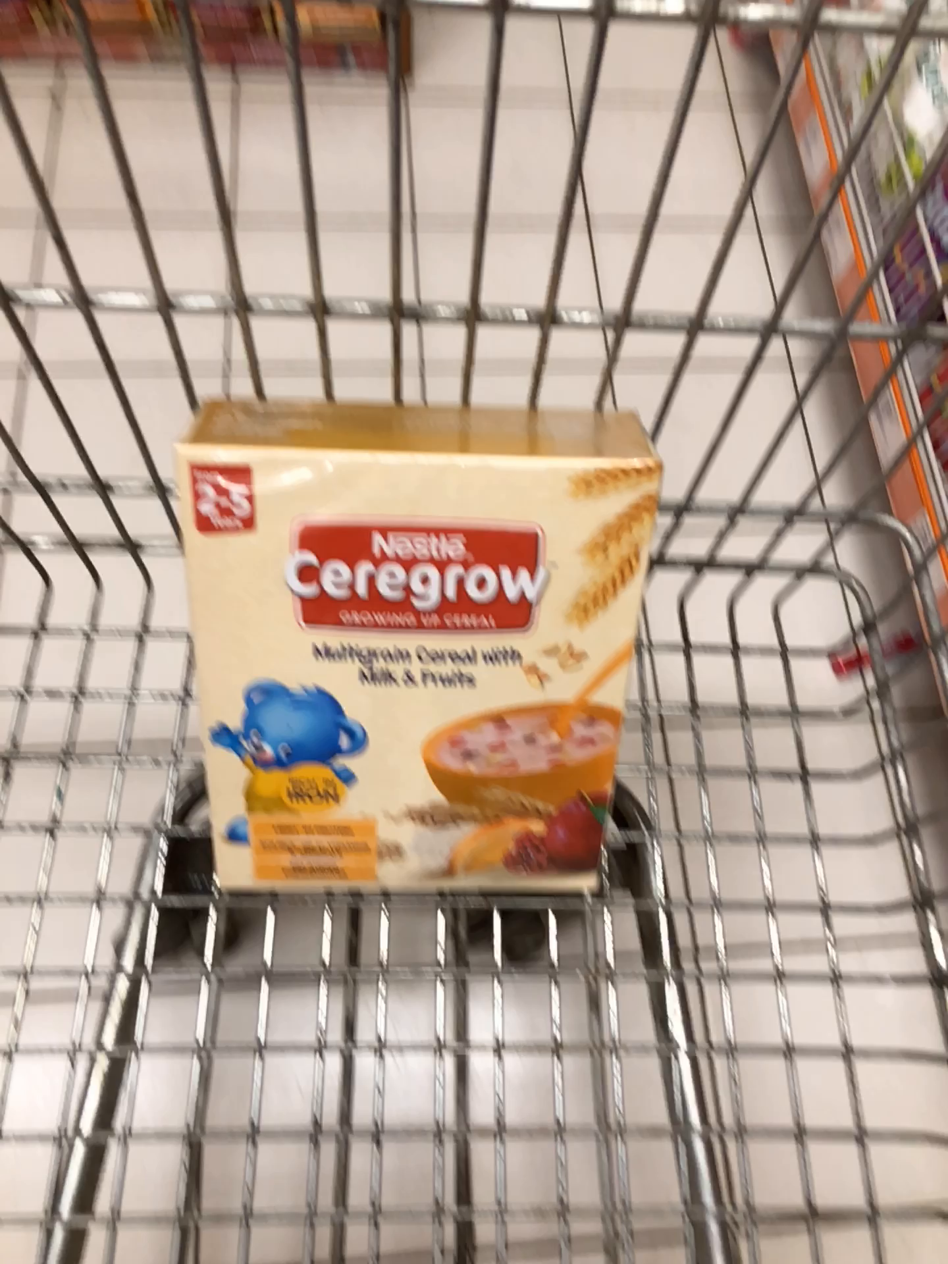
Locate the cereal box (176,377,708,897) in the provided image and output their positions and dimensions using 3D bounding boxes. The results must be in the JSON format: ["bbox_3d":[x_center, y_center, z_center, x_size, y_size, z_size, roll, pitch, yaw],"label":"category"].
[{"bbox_3d":[-0.015,0.010,0.384,0.160,0.189,0.050,1,31,-4],"label":"cereal box"}]
